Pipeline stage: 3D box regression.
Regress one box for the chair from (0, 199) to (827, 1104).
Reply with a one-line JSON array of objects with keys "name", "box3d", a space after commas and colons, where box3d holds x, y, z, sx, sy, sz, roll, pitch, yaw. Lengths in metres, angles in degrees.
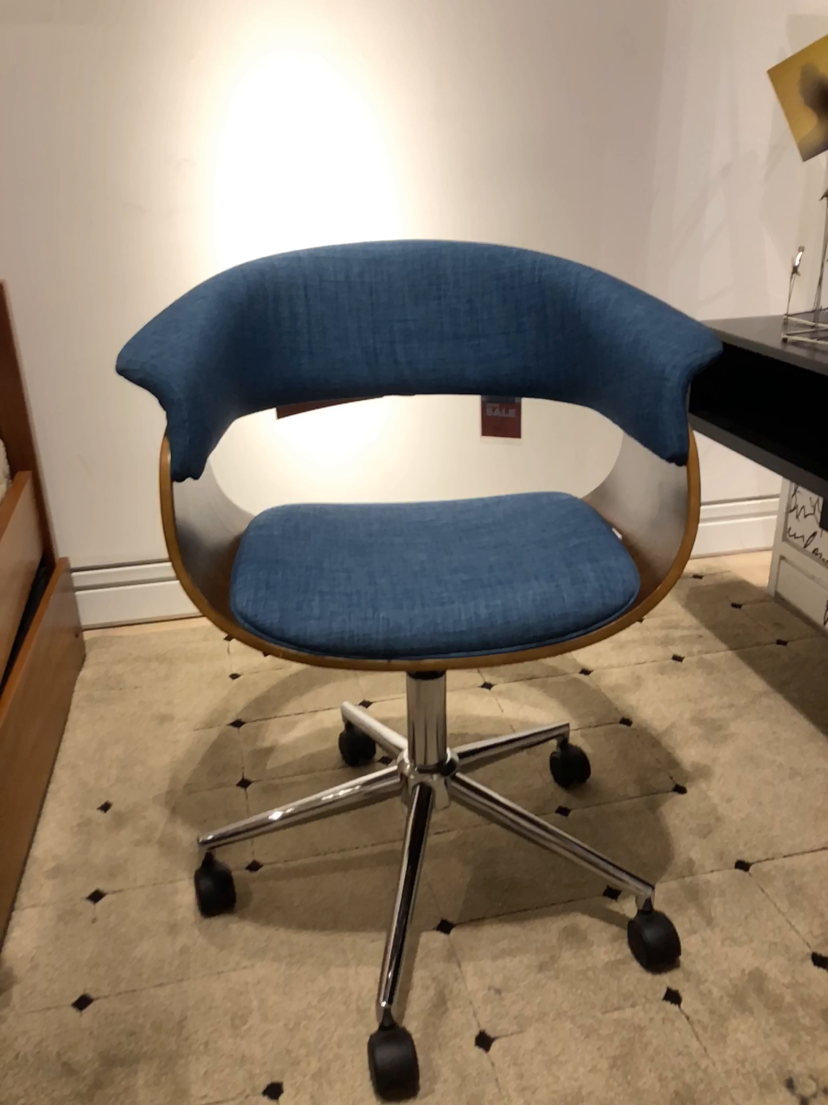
[{"name": "chair", "box3d": [-0.003, 0.028, 1.048, 0.610, 0.775, 0.674, -5, 23, -8]}]
